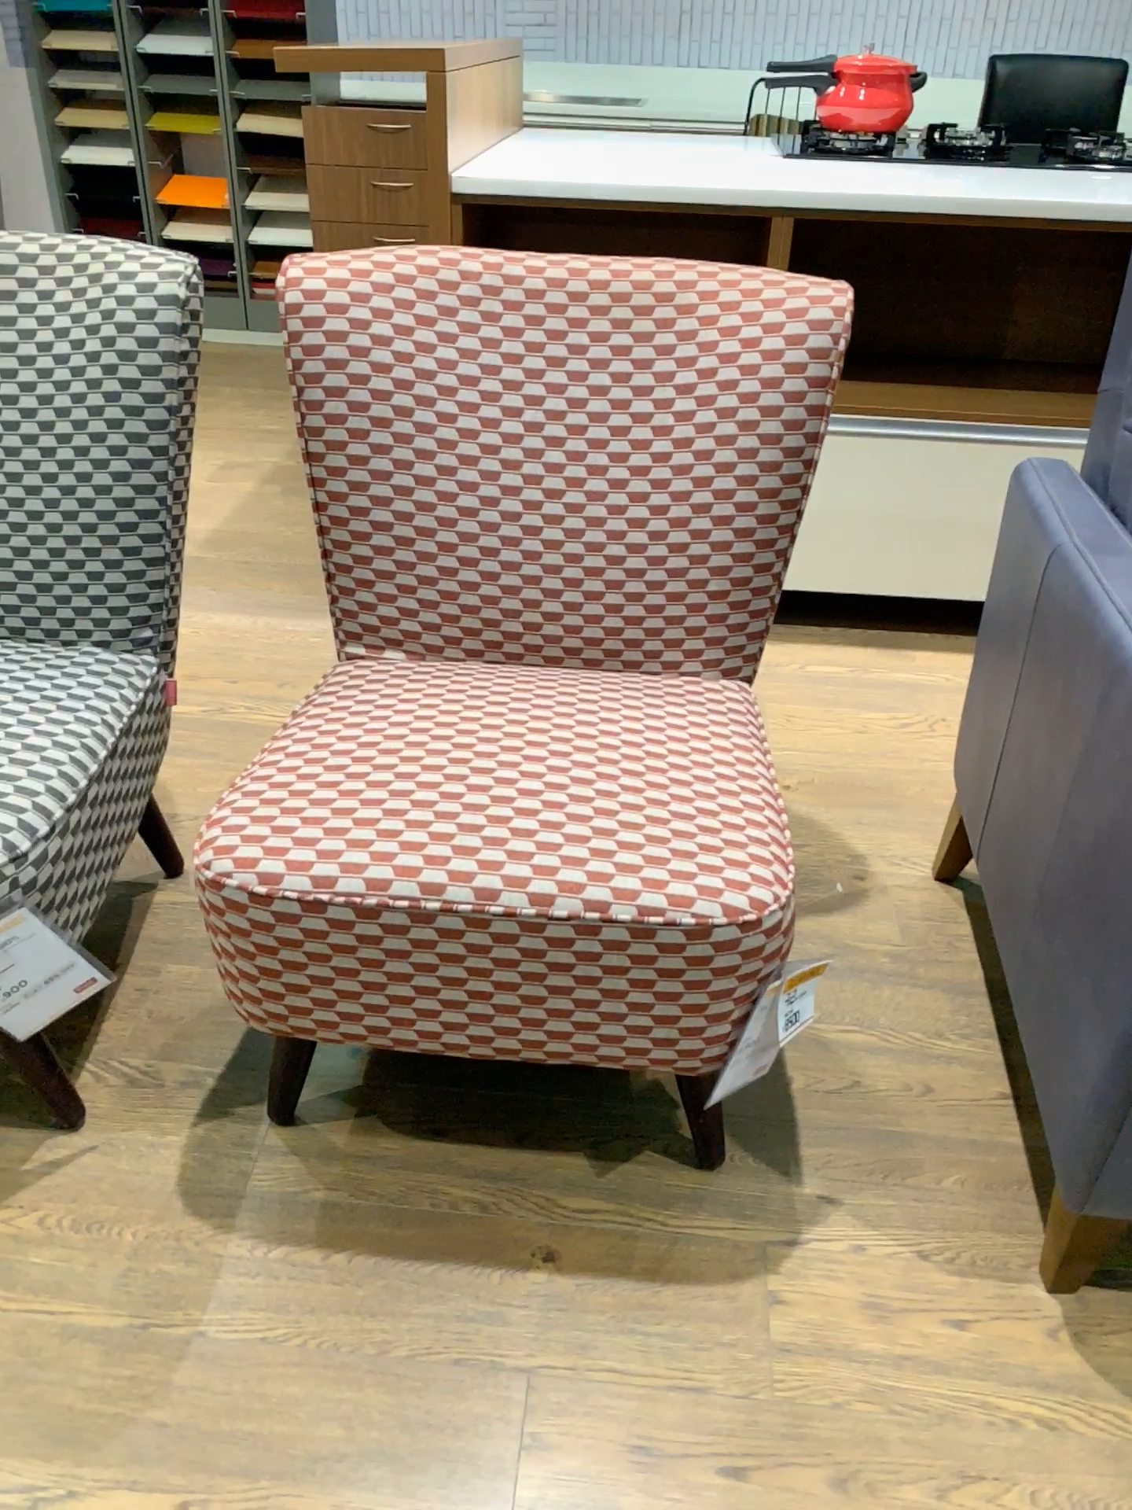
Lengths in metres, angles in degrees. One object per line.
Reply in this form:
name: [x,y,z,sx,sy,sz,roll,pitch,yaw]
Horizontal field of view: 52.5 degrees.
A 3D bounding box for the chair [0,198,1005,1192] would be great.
chair: [-0.043,-0.088,1.274,0.700,0.866,0.613,4,32,3]
